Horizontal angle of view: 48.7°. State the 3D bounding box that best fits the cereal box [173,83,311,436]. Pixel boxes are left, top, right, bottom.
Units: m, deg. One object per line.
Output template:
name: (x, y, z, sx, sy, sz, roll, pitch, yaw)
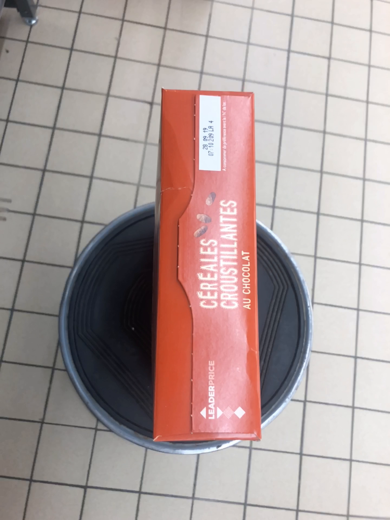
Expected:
cereal box: (0.017, 0.019, 0.356, 0.060, 0.260, 0.190, 1, 78, -4)
